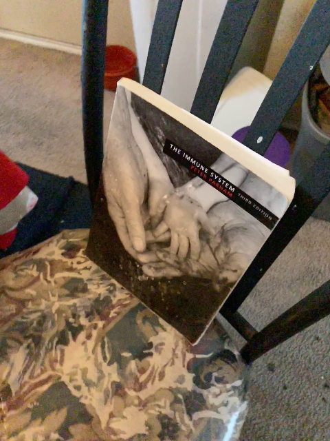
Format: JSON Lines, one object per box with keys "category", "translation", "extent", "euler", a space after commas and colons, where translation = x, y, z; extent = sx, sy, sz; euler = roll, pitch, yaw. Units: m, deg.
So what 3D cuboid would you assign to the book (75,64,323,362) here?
{"category": "book", "translation": [-0.002, 0.008, 0.384], "extent": [0.220, 0.269, 0.040], "euler": [36, 44, 19]}
